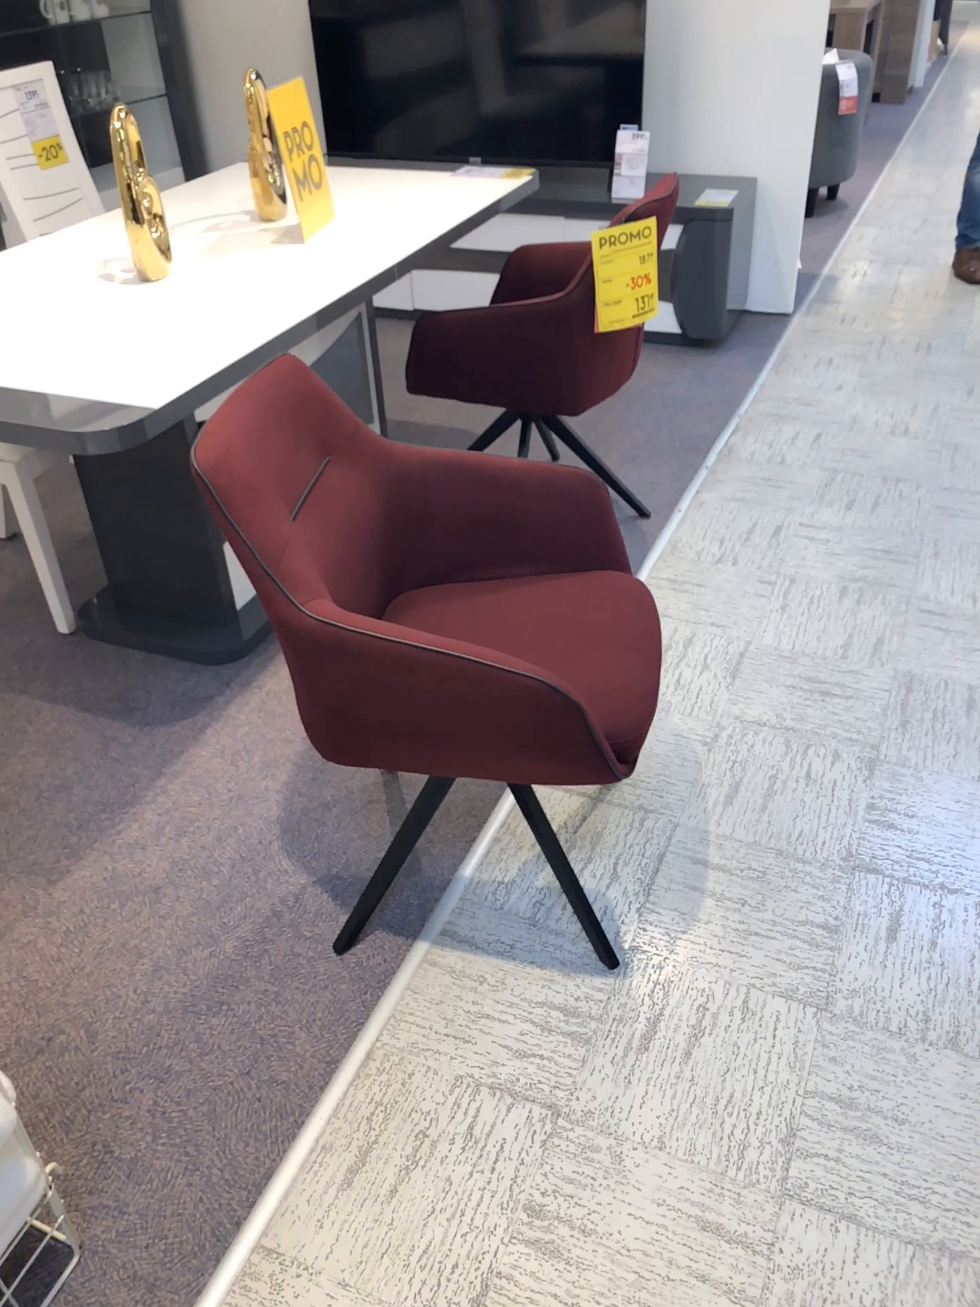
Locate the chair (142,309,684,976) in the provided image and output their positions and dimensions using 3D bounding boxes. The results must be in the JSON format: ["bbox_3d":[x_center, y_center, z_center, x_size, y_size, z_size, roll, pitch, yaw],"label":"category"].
[{"bbox_3d":[-0.034,-0.036,1.552,0.570,0.735,0.584,3,35,8],"label":"chair"}]
